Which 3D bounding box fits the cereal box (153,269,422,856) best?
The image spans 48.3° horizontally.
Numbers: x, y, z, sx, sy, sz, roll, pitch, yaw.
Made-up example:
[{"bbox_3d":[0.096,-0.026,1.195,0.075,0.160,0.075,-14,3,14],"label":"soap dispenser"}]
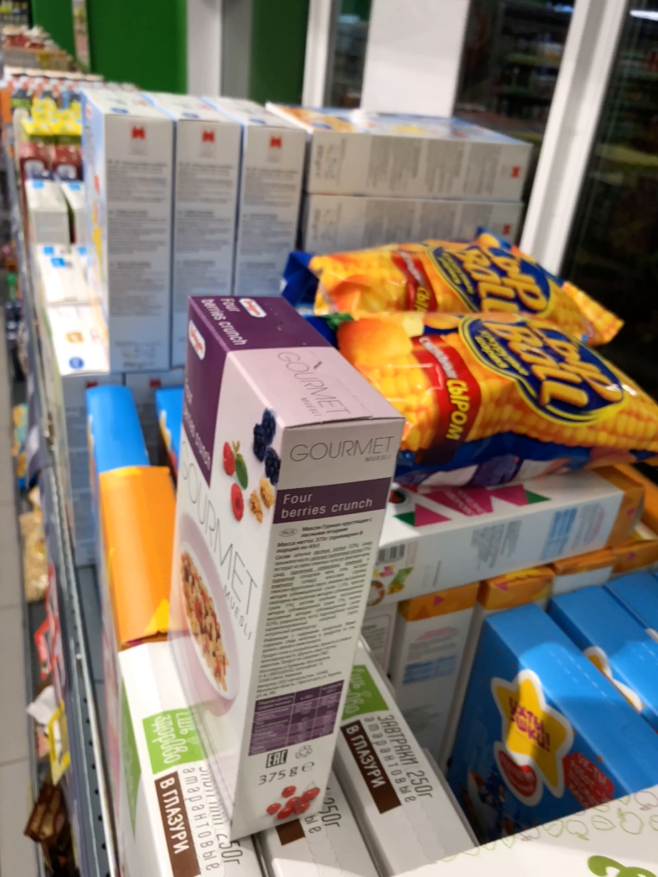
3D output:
[{"bbox_3d":[-0.036,0.051,0.338,0.050,0.219,0.141,-4,30,-25],"label":"cereal box"}]
